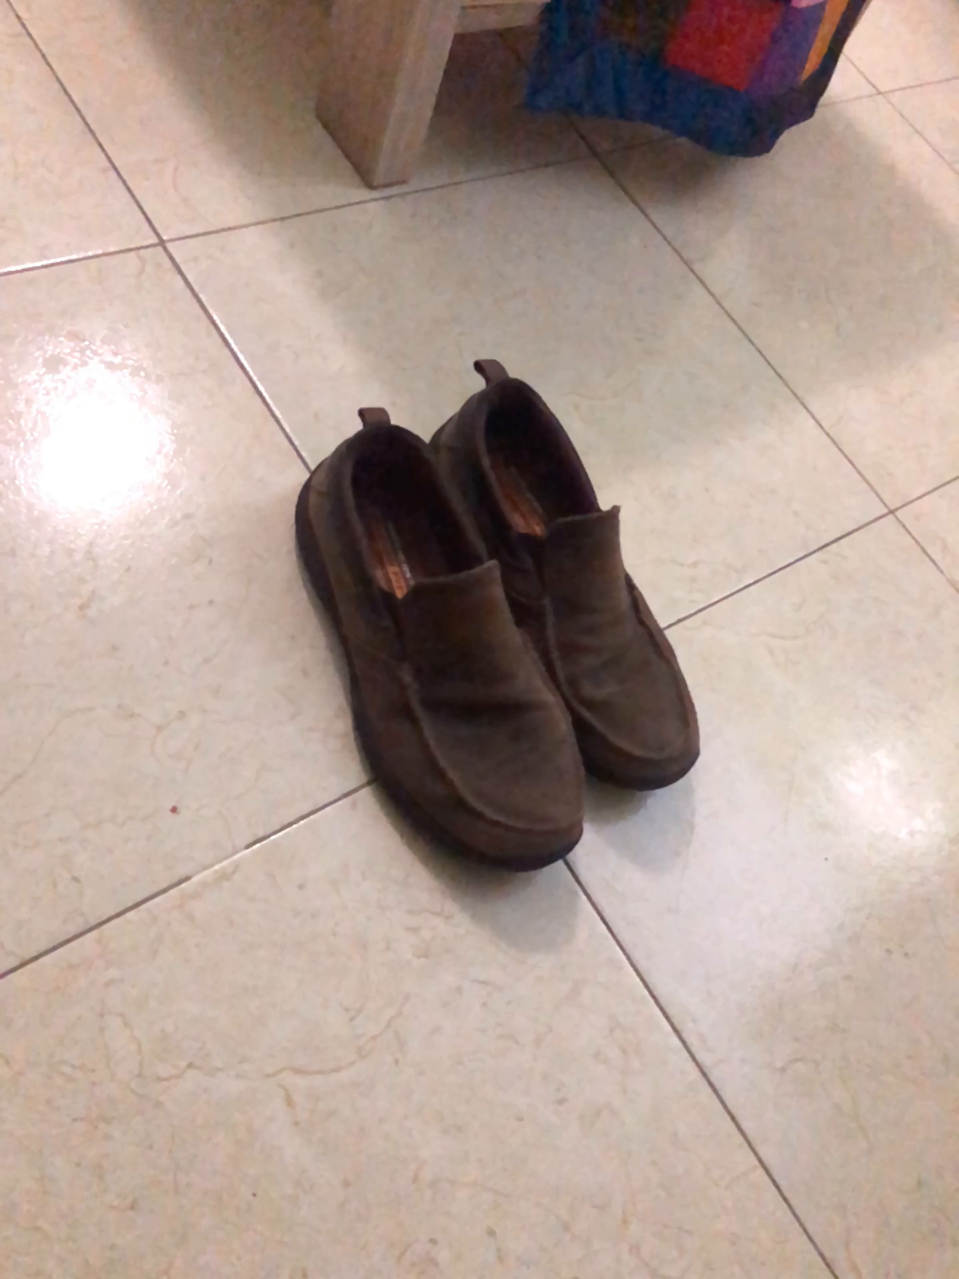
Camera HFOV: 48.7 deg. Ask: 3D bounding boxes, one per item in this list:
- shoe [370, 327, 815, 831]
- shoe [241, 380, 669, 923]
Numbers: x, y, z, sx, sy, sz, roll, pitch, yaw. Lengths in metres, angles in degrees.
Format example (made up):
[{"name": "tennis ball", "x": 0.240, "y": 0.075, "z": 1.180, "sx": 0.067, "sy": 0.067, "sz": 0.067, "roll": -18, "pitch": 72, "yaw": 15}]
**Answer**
[{"name": "shoe", "x": 0.063, "y": -0.048, "z": 0.697, "sx": 0.130, "sy": 0.100, "sz": 0.300, "roll": -21, "pitch": 70, "yaw": -28}, {"name": "shoe", "x": -0.028, "y": -0.001, "z": 0.649, "sx": 0.120, "sy": 0.100, "sz": 0.300, "roll": -18, "pitch": 69, "yaw": -27}]
